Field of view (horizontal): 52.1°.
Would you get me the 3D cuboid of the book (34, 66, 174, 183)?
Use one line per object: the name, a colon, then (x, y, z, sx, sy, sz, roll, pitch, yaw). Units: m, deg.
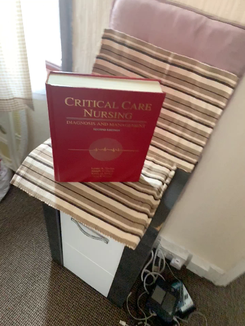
book: (-0.049, -0.062, 0.573, 0.250, 0.287, 0.060, 1, 49, -10)
